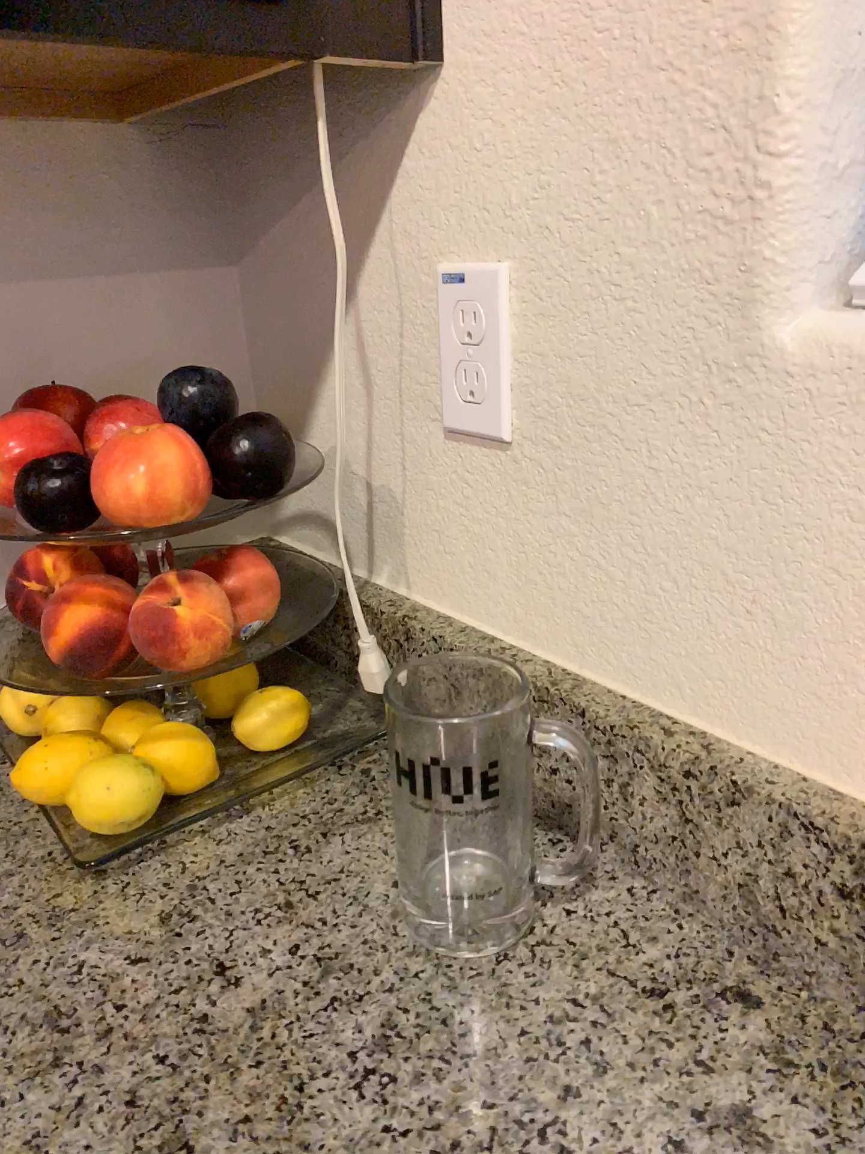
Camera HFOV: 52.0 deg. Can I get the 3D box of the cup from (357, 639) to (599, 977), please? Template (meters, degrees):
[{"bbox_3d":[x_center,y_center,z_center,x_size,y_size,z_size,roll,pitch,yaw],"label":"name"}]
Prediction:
[{"bbox_3d":[0.032,0.127,0.502,0.120,0.159,0.081,1,20,11],"label":"cup"}]
